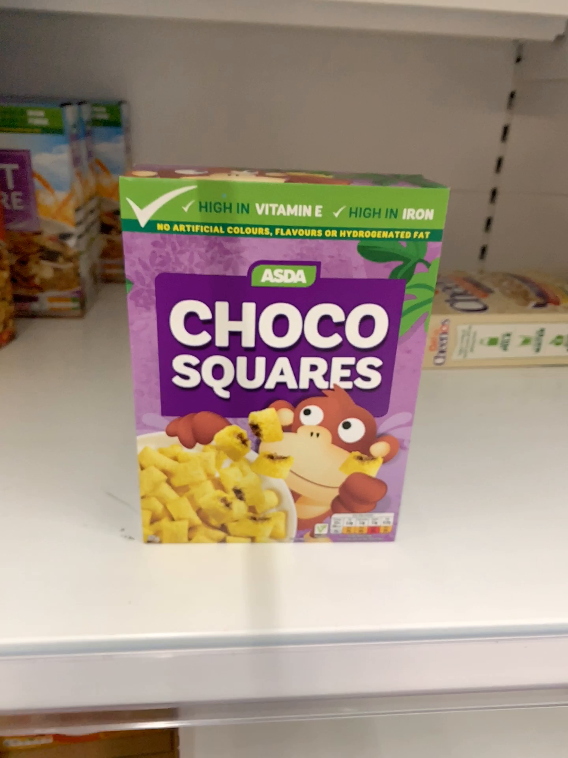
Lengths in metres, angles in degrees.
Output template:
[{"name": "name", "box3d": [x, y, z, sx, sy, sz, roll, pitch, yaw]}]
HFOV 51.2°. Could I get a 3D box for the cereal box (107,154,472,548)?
[{"name": "cereal box", "box3d": [-0.003, -0.008, 0.387, 0.190, 0.248, 0.061, 1, 25, -4]}]
